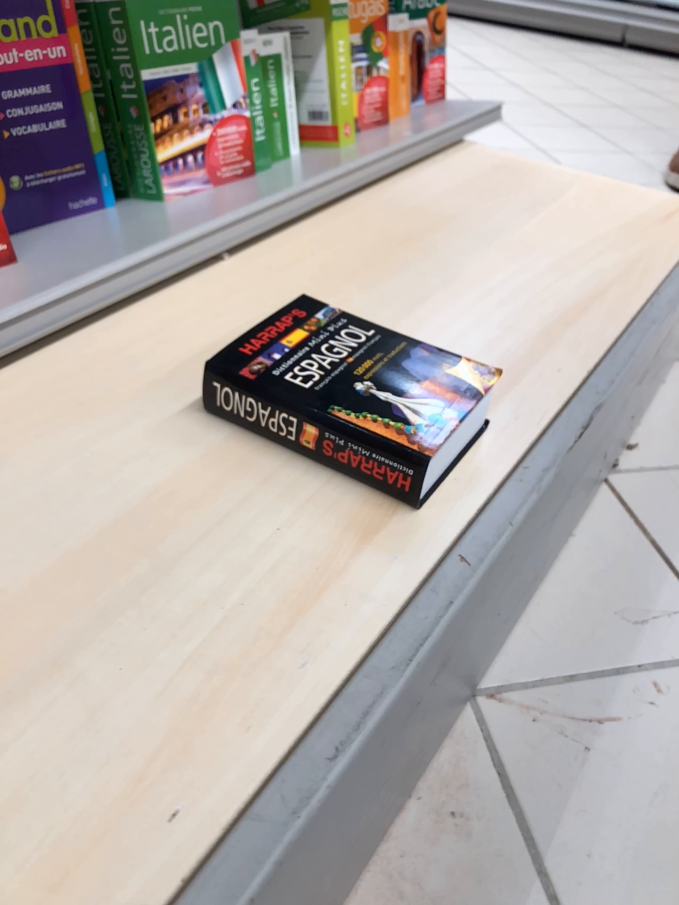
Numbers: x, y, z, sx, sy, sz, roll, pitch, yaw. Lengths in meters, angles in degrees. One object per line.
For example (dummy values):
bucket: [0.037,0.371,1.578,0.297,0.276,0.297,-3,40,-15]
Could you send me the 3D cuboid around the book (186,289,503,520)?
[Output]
book: [0.003,-0.035,0.433,0.145,0.038,0.104,25,42,21]
